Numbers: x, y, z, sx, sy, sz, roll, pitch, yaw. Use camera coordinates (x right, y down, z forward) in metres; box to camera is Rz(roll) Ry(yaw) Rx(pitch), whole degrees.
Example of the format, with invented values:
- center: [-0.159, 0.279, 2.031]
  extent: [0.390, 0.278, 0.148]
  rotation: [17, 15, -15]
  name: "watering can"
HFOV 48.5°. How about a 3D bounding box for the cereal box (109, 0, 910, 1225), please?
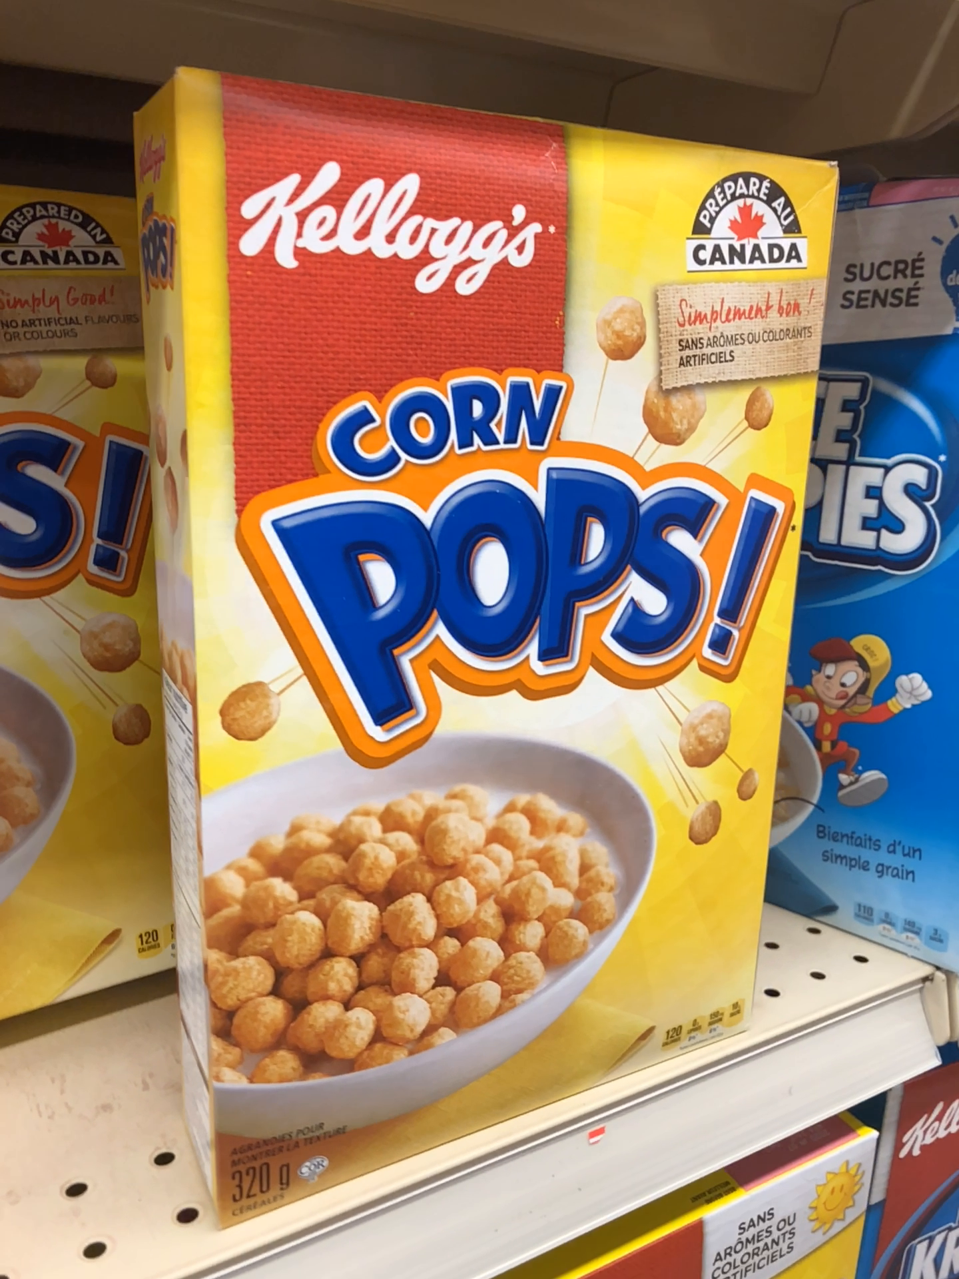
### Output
- center: [0.012, -0.004, 0.318]
  extent: [0.210, 0.289, 0.060]
  rotation: [-6, 17, -28]
  name: "cereal box"
